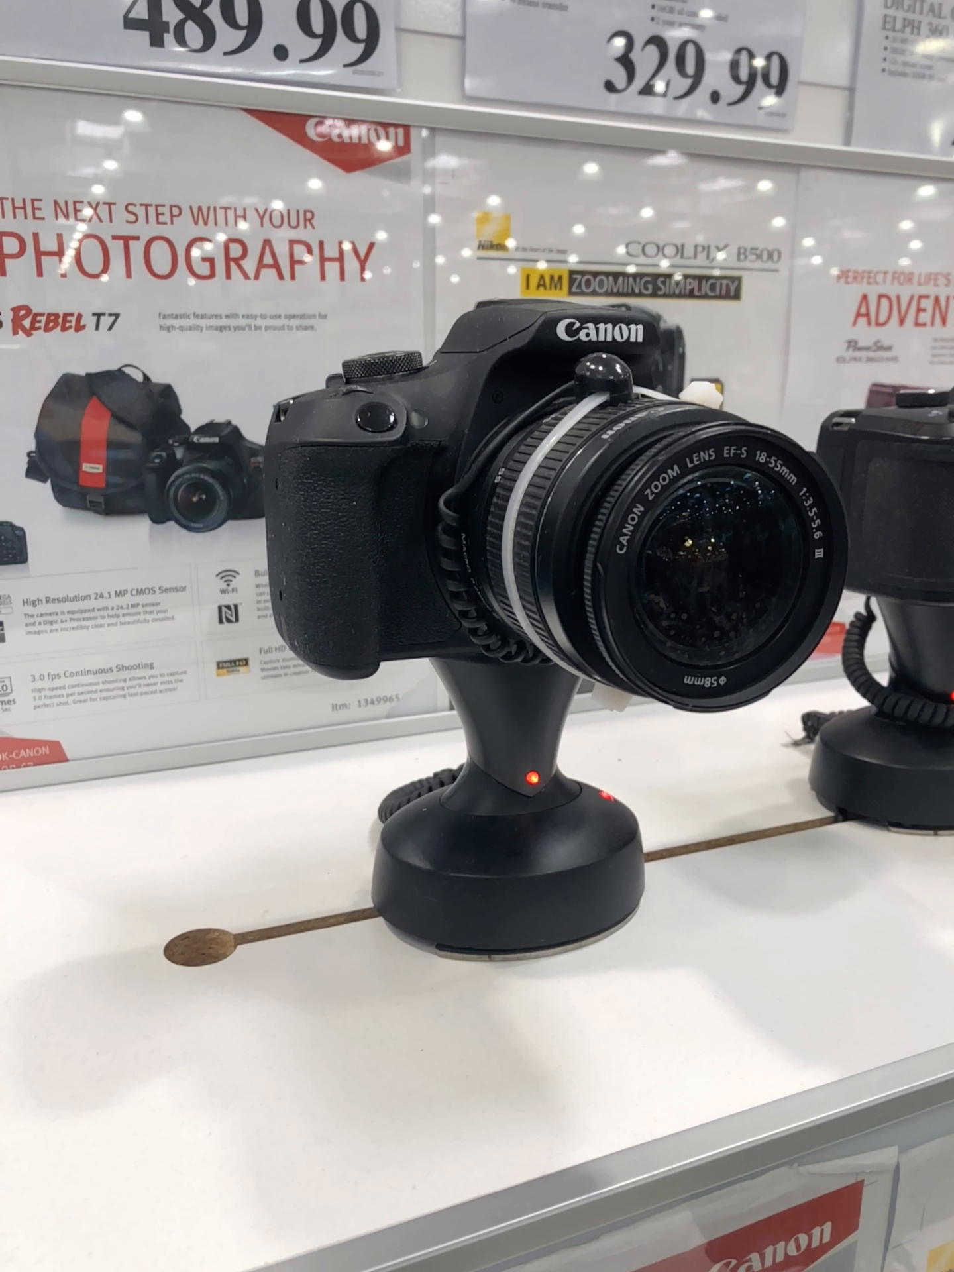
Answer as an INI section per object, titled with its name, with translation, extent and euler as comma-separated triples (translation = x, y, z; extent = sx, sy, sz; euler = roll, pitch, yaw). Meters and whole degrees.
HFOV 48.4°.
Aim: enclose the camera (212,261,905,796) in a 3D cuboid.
[camera]
translation = 0.012, -0.037, 0.277
extent = 0.130, 0.100, 0.120
euler = -7, 15, -25
